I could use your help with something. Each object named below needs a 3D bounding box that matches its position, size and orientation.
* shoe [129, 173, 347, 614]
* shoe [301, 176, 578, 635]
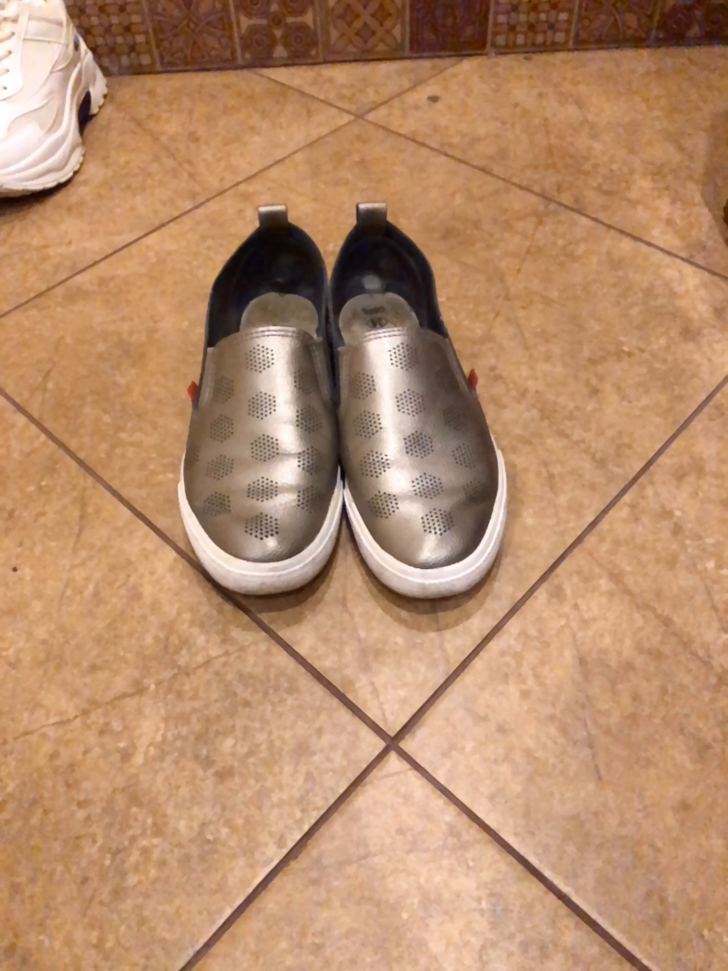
[{"bbox_3d":[-0.060,-0.064,0.464,0.090,0.099,0.251,-3,52,0],"label":"shoe"},{"bbox_3d":[0.028,-0.055,0.454,0.100,0.109,0.241,-6,52,-3],"label":"shoe"}]
